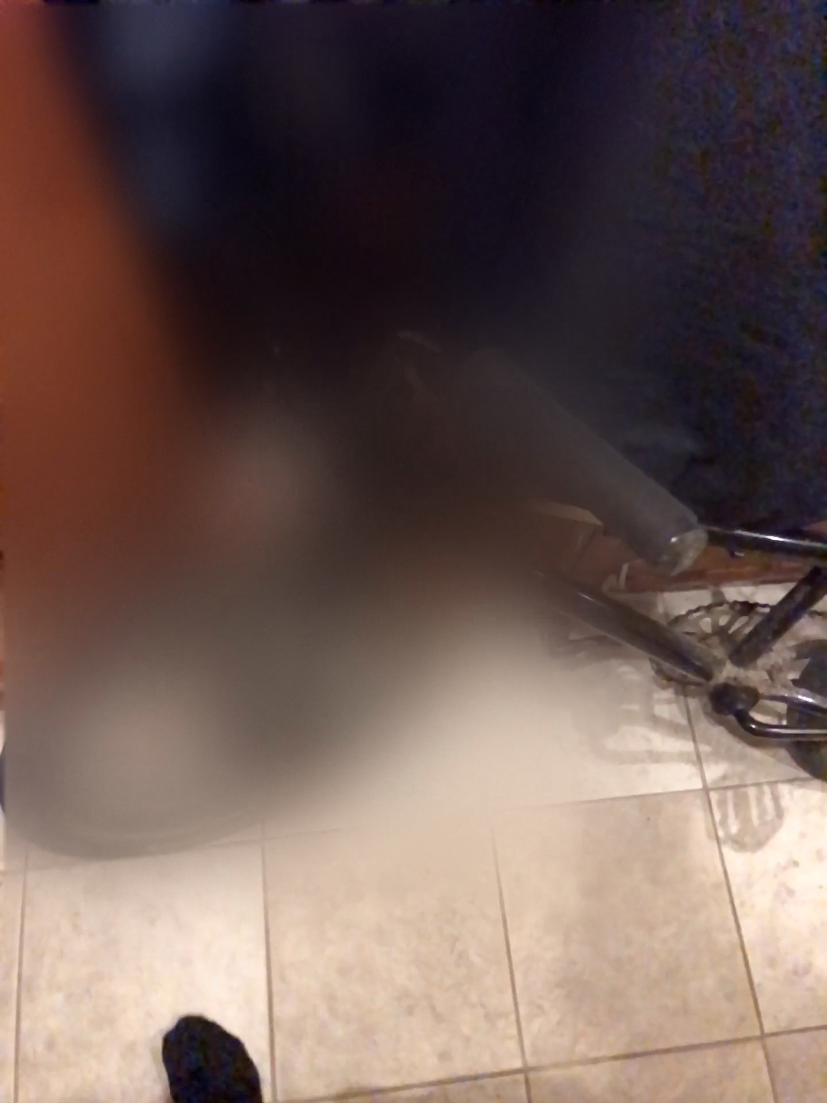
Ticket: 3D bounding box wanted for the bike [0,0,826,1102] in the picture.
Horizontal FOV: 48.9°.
[{"bbox_3d":[0.276,0.047,0.823,1.355,0.856,0.527,-2,67,-7],"label":"bike"}]
